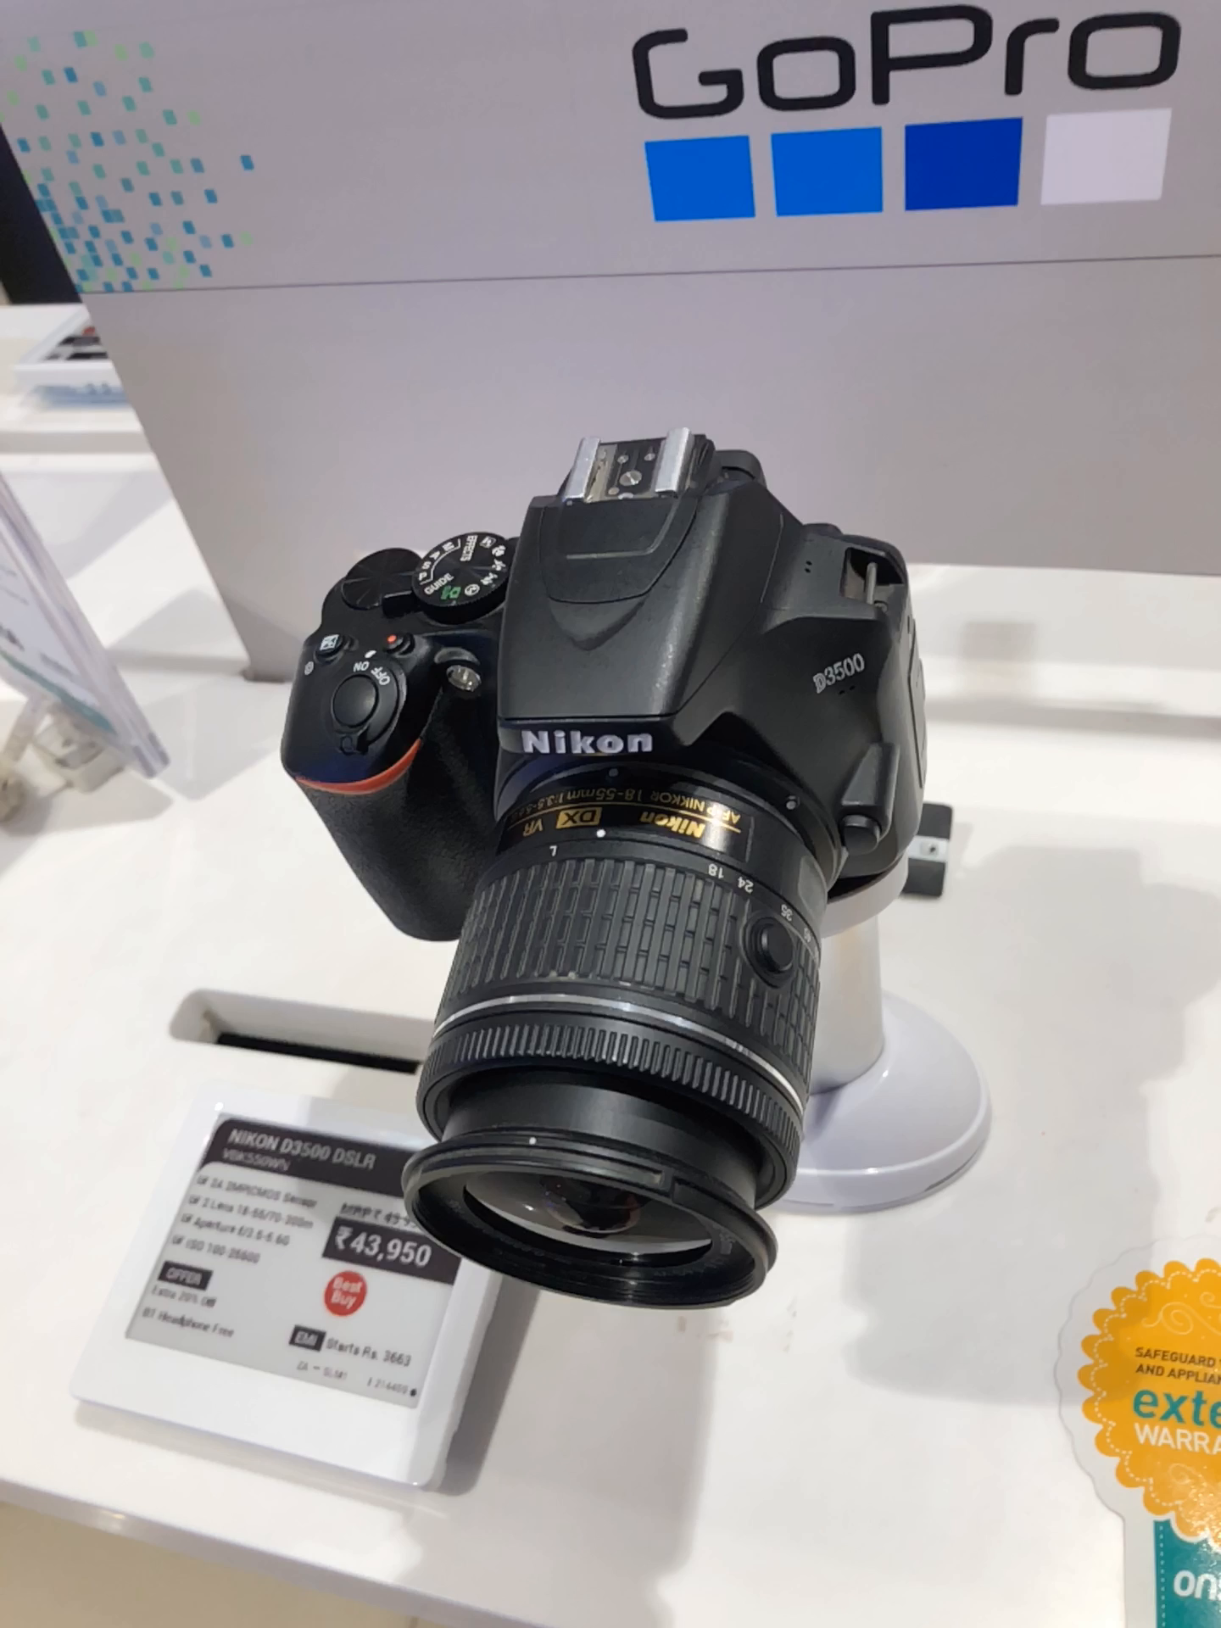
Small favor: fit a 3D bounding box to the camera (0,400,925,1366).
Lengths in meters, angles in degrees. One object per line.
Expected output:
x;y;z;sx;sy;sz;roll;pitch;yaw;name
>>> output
-0.011;0.008;0.226;0.120;0.089;0.121;0;50;14;camera
